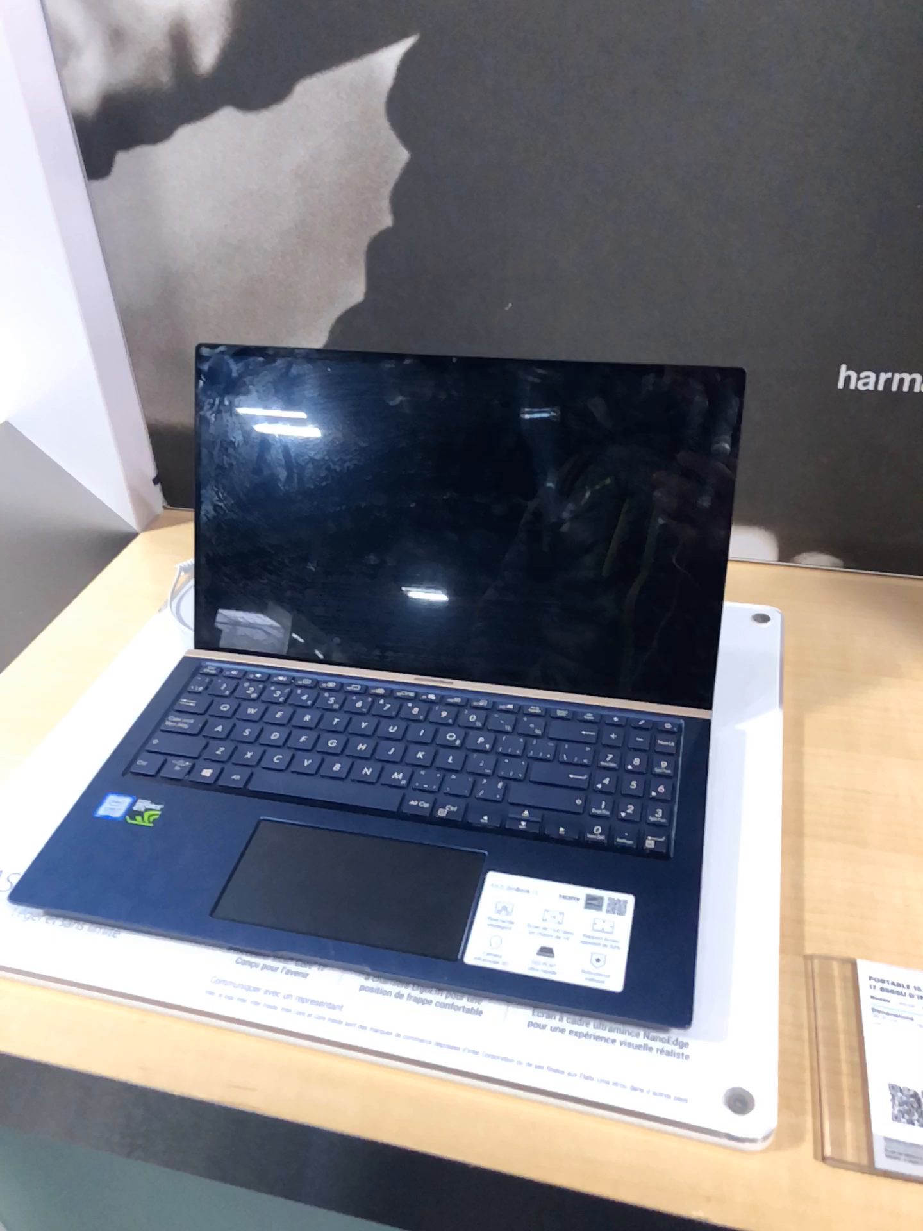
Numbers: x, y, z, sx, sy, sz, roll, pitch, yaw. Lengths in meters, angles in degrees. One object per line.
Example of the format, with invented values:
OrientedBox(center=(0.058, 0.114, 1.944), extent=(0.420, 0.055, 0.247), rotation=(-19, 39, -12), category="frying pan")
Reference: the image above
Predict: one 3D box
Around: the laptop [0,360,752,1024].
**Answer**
OrientedBox(center=(-0.032, 0.005, 0.535), extent=(0.331, 0.173, 0.293), rotation=(6, 36, 14), category="laptop")
